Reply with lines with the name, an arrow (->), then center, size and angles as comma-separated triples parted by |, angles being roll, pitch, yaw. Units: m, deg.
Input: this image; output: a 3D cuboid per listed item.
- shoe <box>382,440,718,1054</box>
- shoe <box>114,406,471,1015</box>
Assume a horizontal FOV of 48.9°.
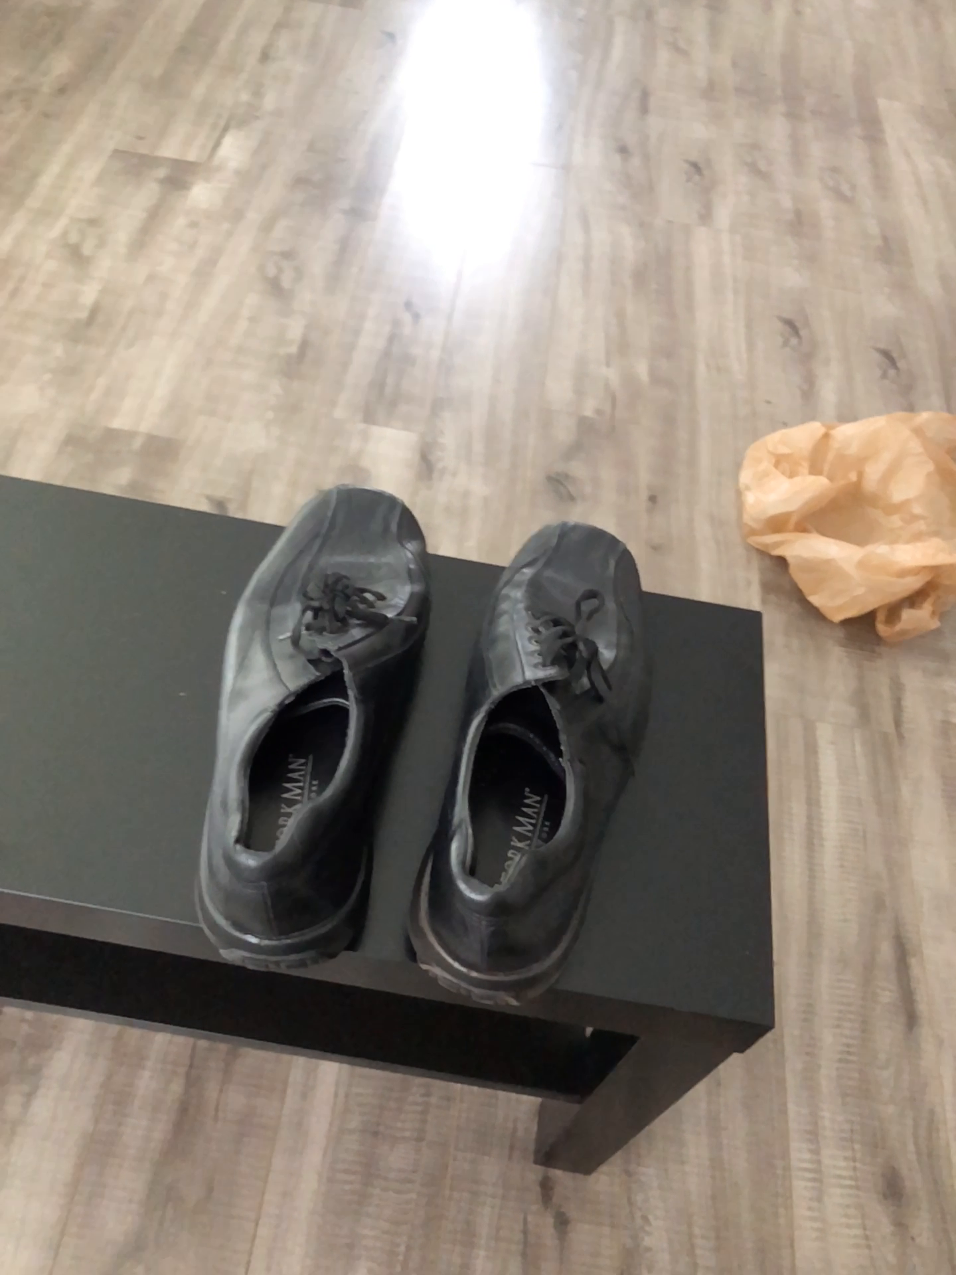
shoe -> 0.044, 0.044, 0.549 | 0.110, 0.110, 0.286 | 14, 53, 2
shoe -> -0.079, 0.026, 0.536 | 0.110, 0.110, 0.283 | 9, 53, -2
